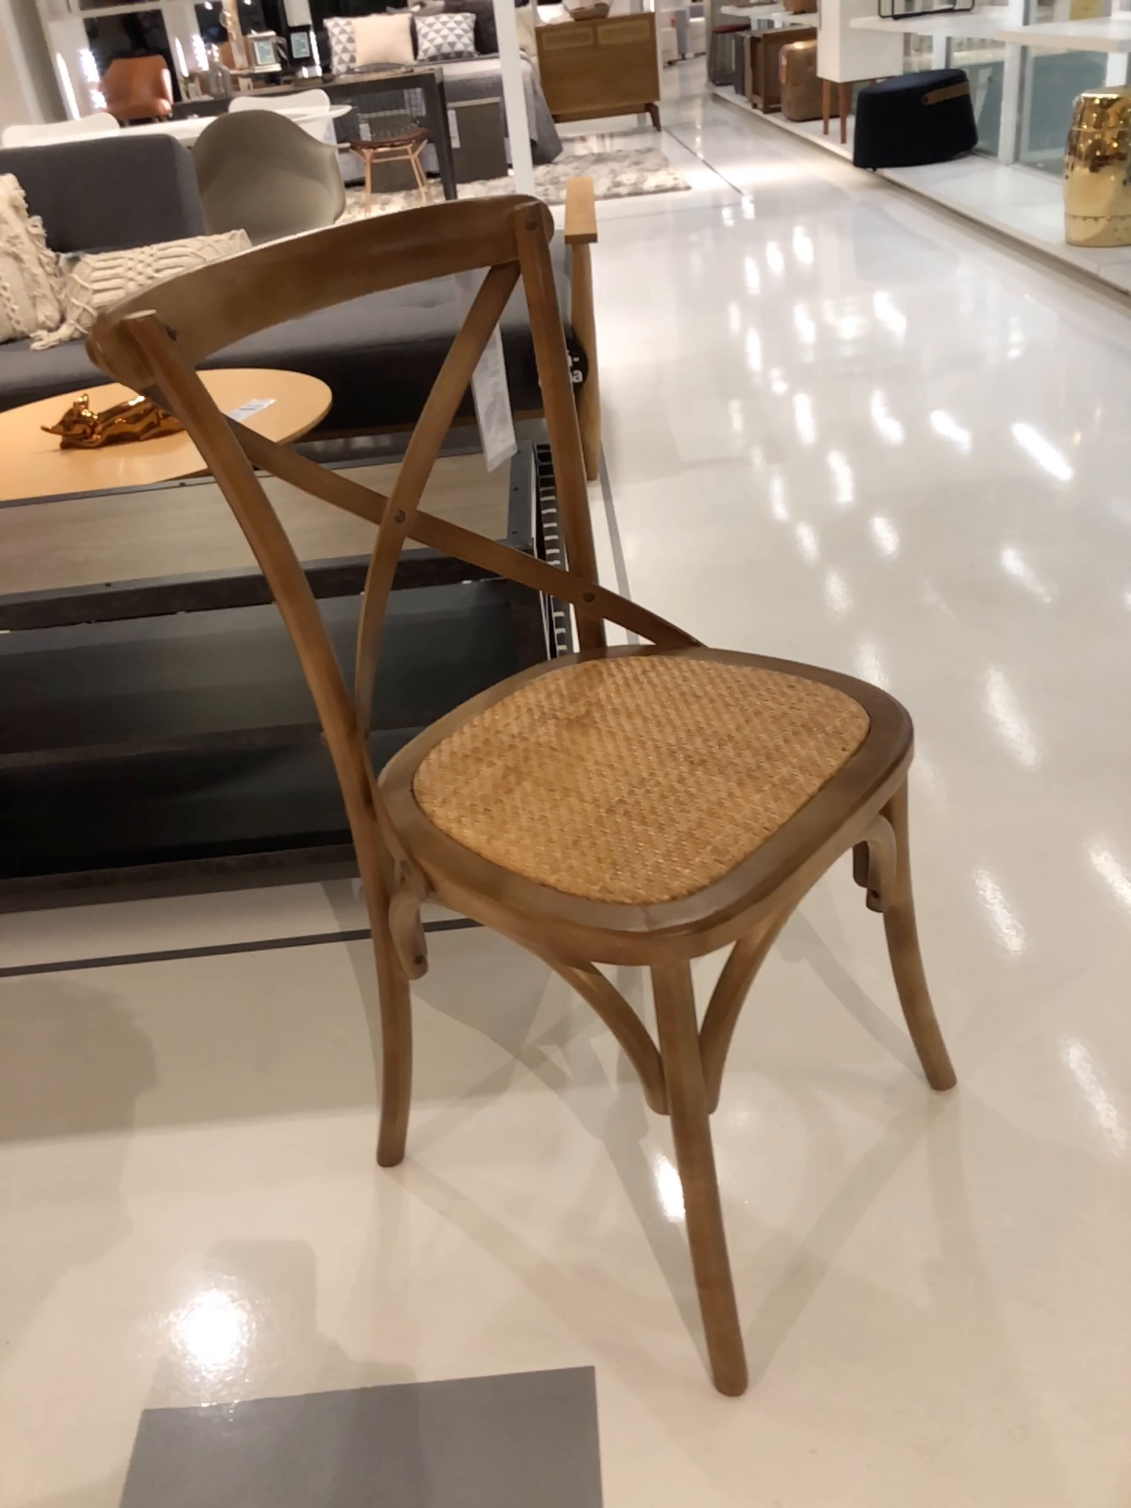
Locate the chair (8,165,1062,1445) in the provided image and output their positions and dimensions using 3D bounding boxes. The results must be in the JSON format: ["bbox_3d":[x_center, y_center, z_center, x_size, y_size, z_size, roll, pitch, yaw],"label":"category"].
[{"bbox_3d":[0.022,-0.004,1.104,0.572,0.863,0.502,18,39,36],"label":"chair"}]
